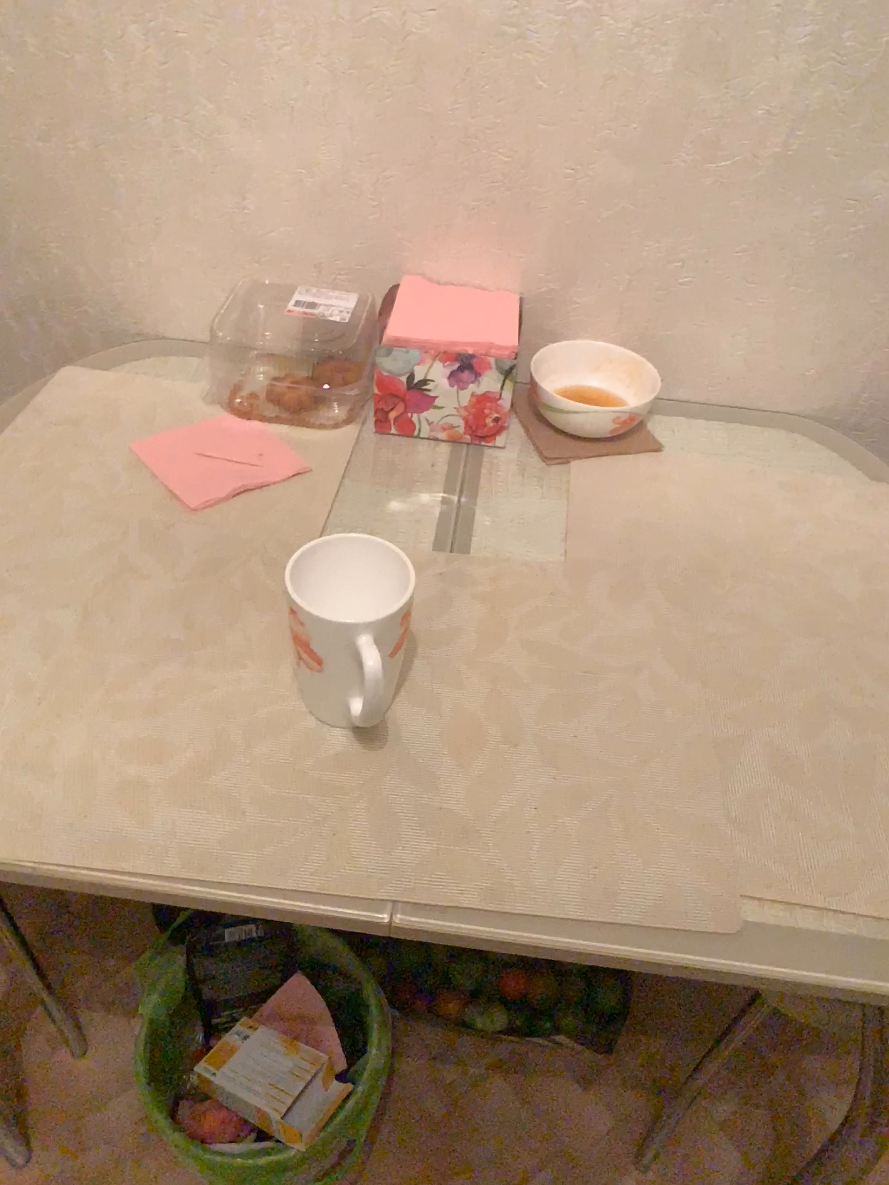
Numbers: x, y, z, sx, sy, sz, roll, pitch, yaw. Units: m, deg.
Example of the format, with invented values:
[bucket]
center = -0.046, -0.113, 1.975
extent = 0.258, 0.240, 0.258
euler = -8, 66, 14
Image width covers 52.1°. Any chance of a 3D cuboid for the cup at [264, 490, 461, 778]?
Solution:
[cup]
center = -0.054, 0.023, 0.557
extent = 0.080, 0.109, 0.121
euler = -12, 45, -18
